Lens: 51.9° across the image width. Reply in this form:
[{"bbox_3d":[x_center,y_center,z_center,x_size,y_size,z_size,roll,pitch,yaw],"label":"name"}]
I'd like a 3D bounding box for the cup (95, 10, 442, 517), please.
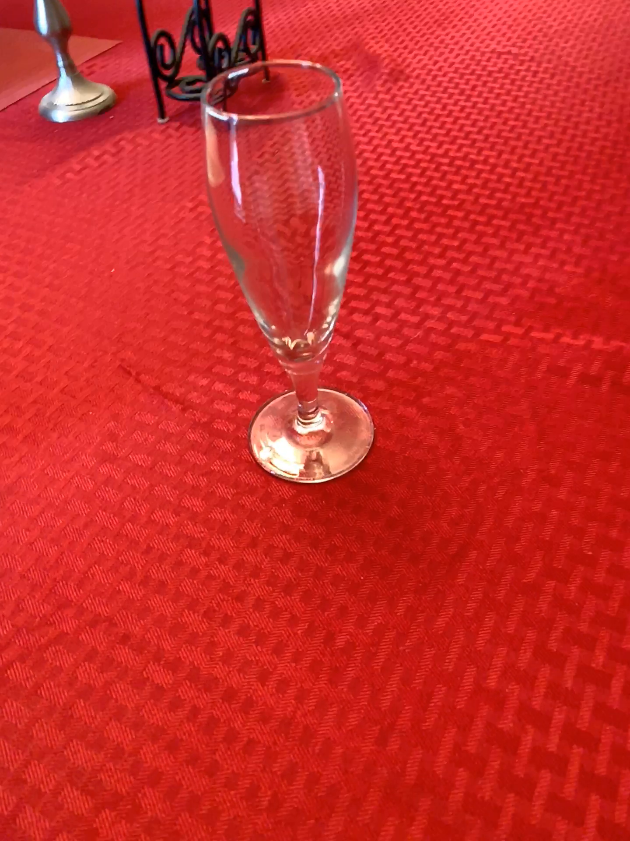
[{"bbox_3d":[-0.008,-0.055,0.276,0.080,0.179,0.080,-2,48,3],"label":"cup"}]
